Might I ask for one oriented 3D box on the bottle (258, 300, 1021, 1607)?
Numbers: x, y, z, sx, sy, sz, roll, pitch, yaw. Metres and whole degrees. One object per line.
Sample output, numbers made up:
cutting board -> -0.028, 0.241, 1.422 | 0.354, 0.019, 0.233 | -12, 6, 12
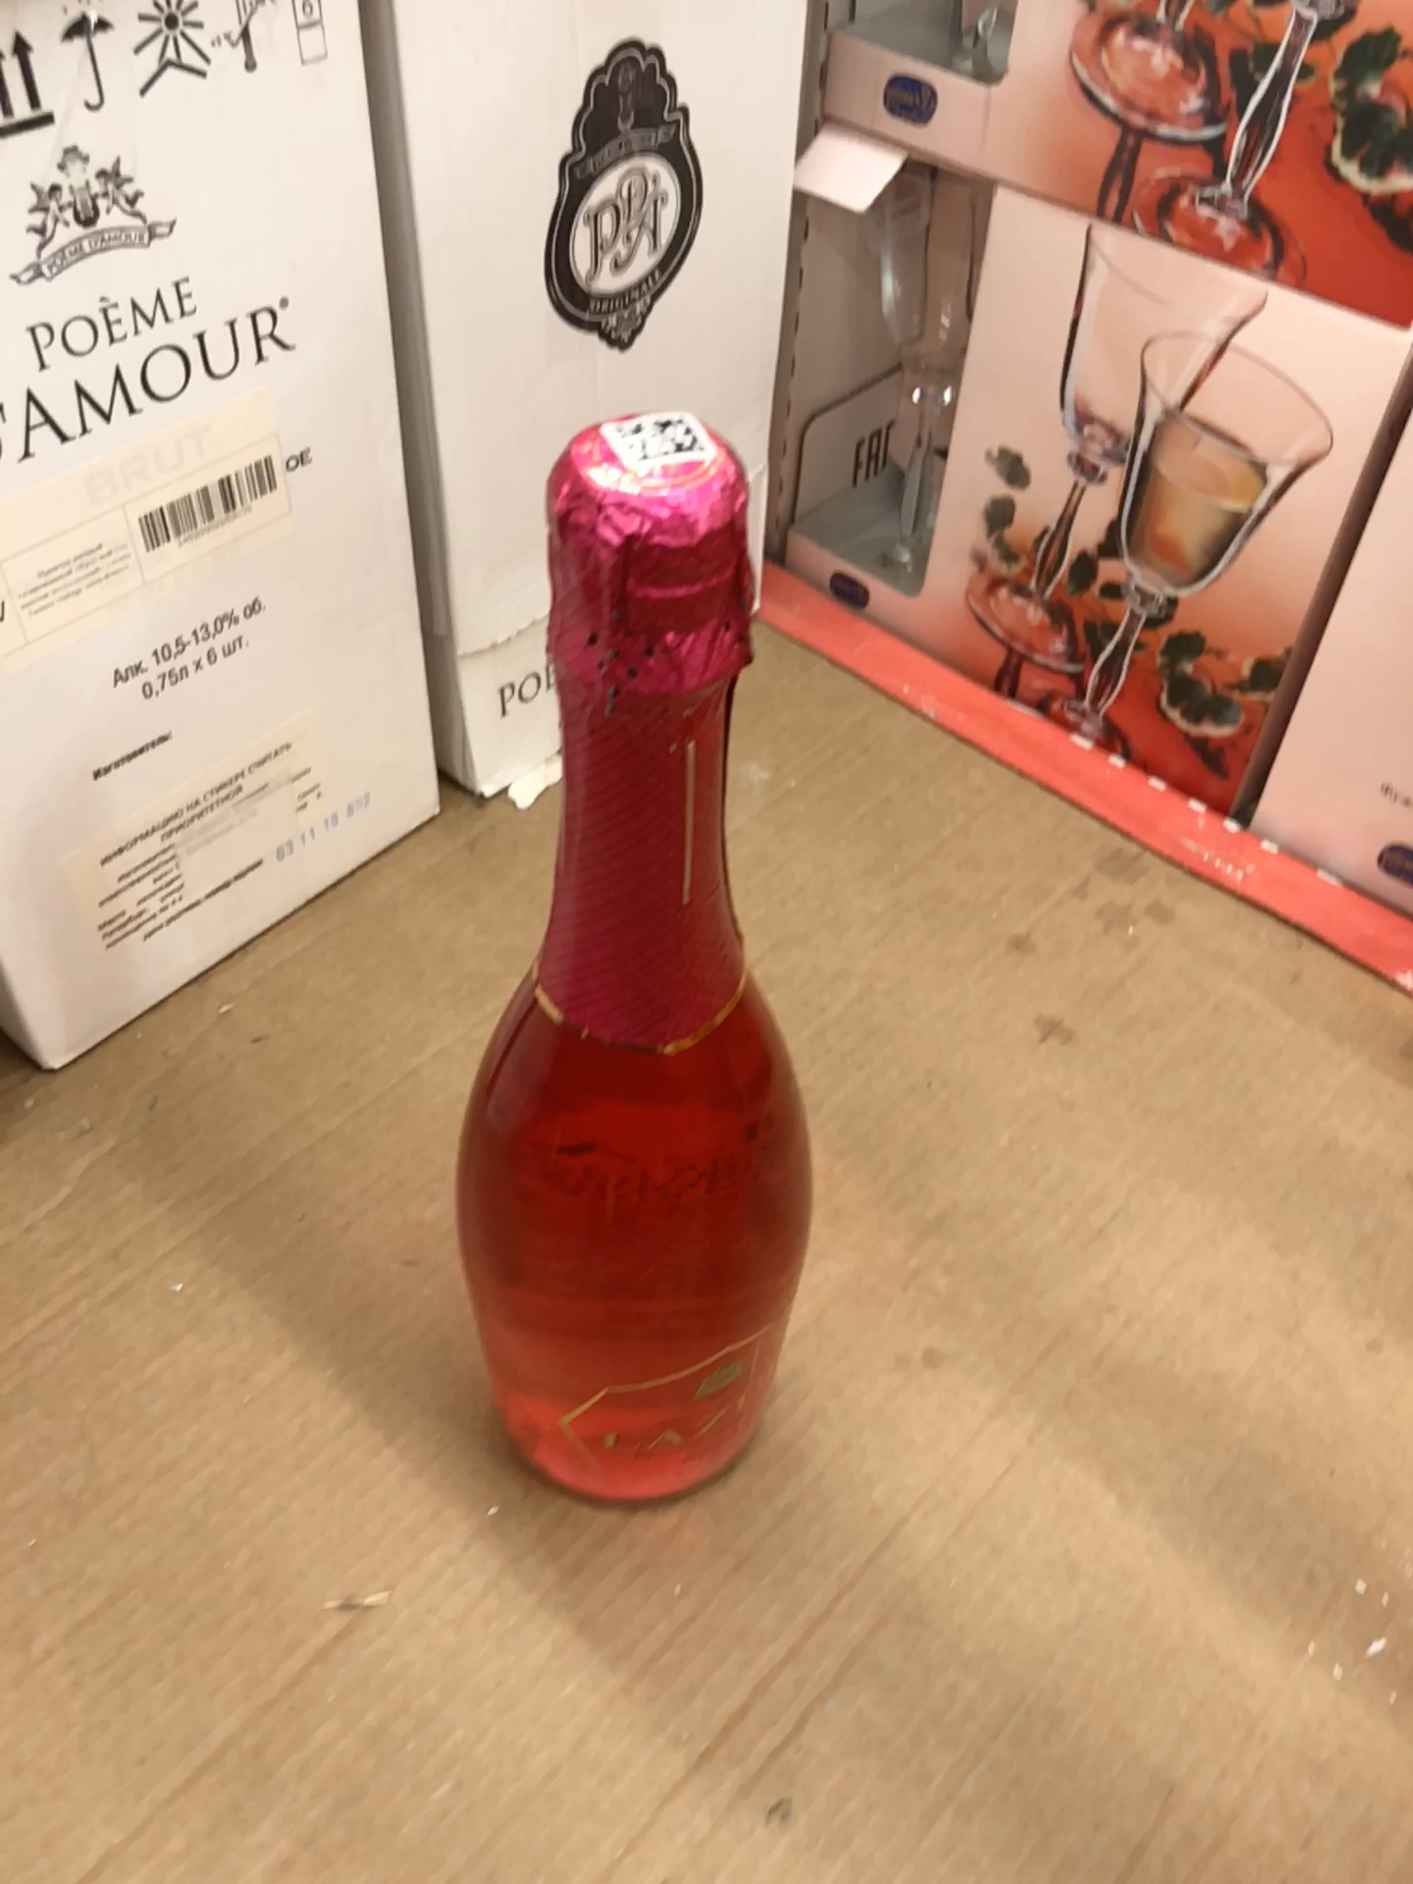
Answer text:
bottle -> -0.021, 0.034, 0.366 | 0.090, 0.320, 0.090 | 2, 47, -2
